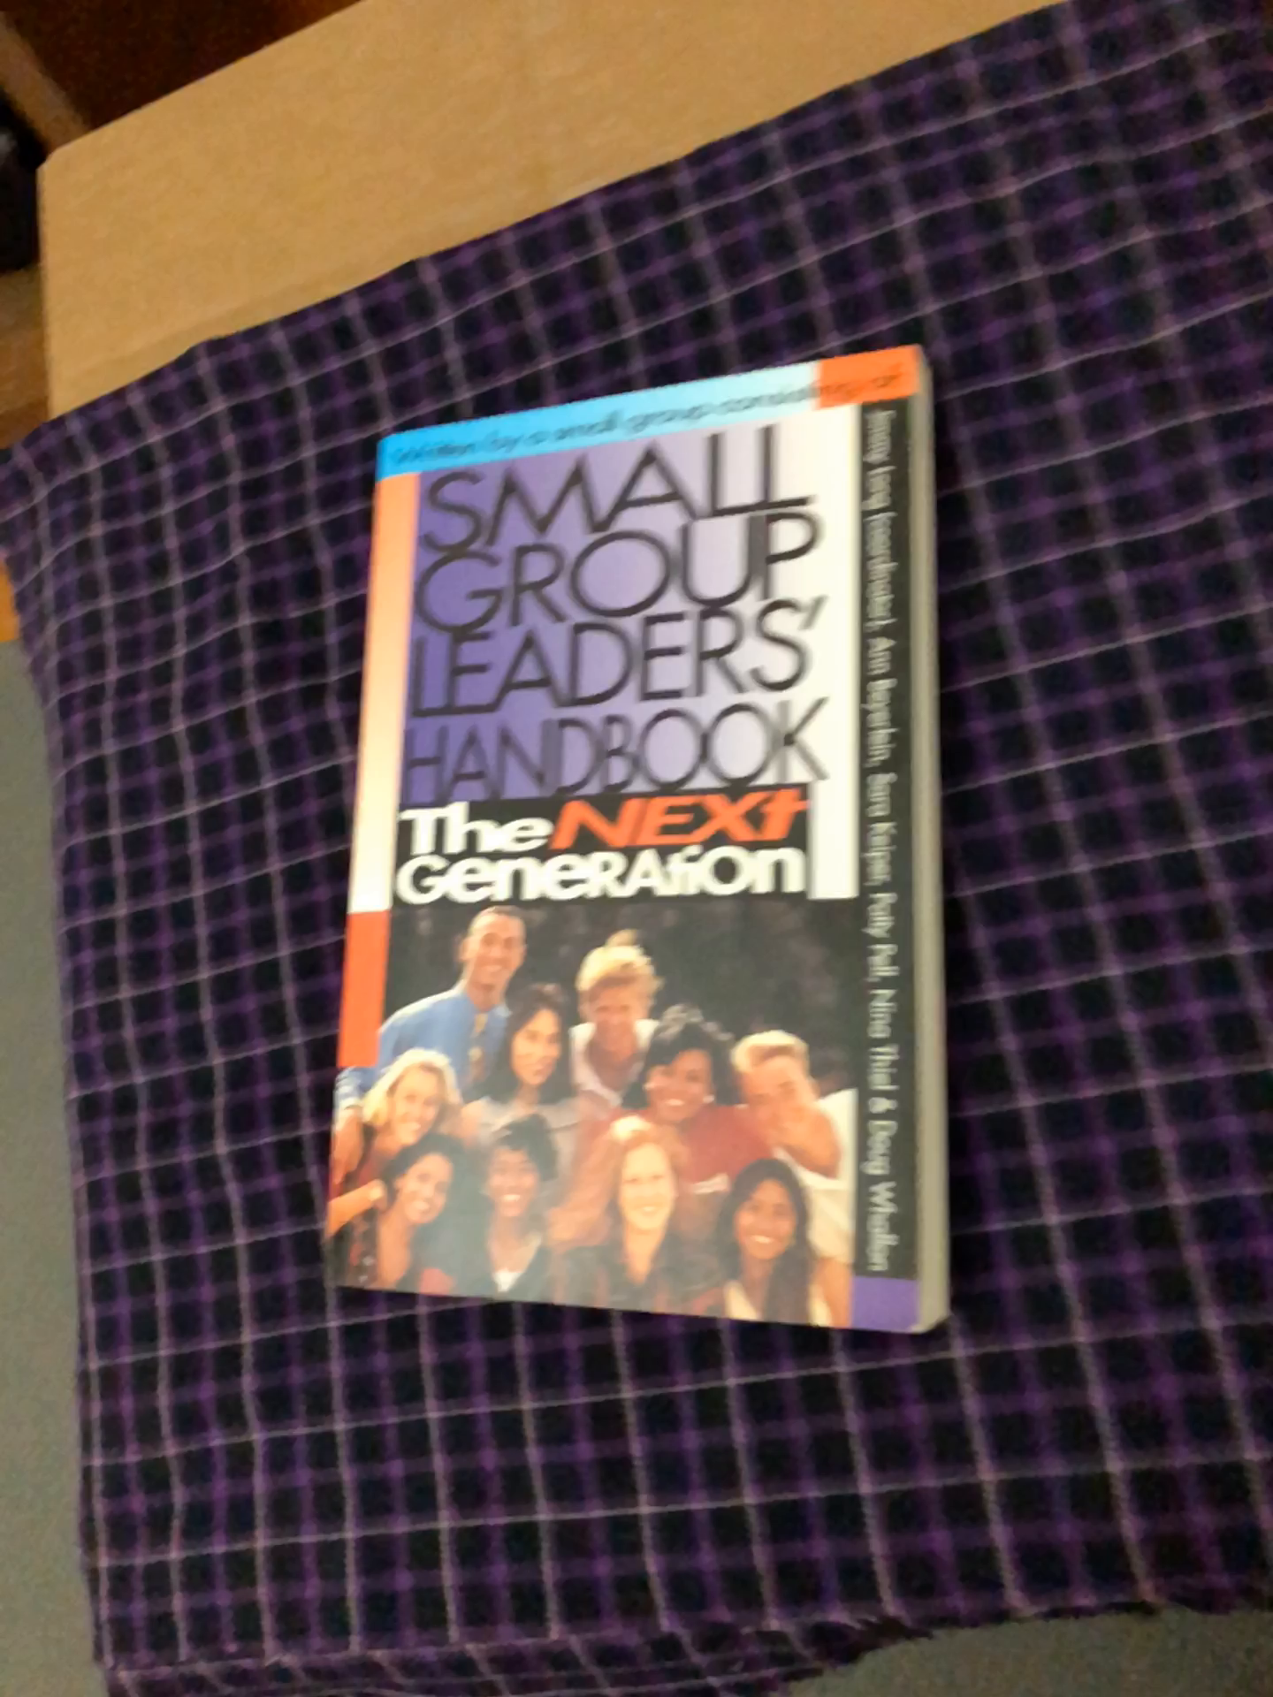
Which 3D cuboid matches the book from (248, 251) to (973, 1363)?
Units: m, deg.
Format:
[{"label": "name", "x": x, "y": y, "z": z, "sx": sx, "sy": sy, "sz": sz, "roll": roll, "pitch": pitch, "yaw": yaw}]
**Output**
[{"label": "book", "x": -0.007, "y": -0.010, "z": 0.311, "sx": 0.150, "sy": 0.030, "sz": 0.220, "roll": -3, "pitch": 78, "yaw": 21}]
